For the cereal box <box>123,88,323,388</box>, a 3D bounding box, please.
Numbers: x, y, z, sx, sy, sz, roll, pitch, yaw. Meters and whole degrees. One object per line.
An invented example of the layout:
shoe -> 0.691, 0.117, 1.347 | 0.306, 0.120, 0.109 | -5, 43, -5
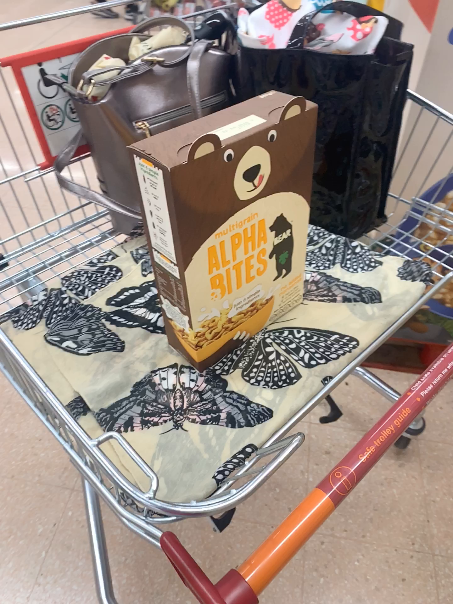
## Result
cereal box -> 0.008, -0.067, 0.554 | 0.201, 0.297, 0.070 | -32, 49, -29
